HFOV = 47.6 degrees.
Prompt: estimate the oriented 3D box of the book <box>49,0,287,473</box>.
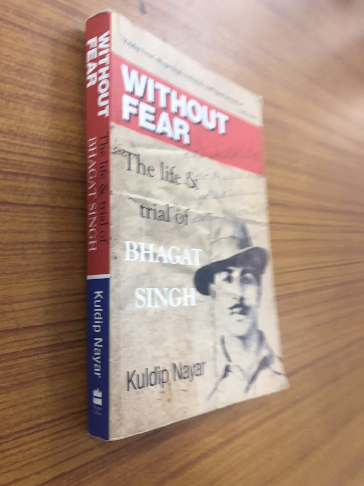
[{"bbox_3d":[0.001,-0.012,0.227,0.141,0.030,0.210,6,79,-45],"label":"book"}]
